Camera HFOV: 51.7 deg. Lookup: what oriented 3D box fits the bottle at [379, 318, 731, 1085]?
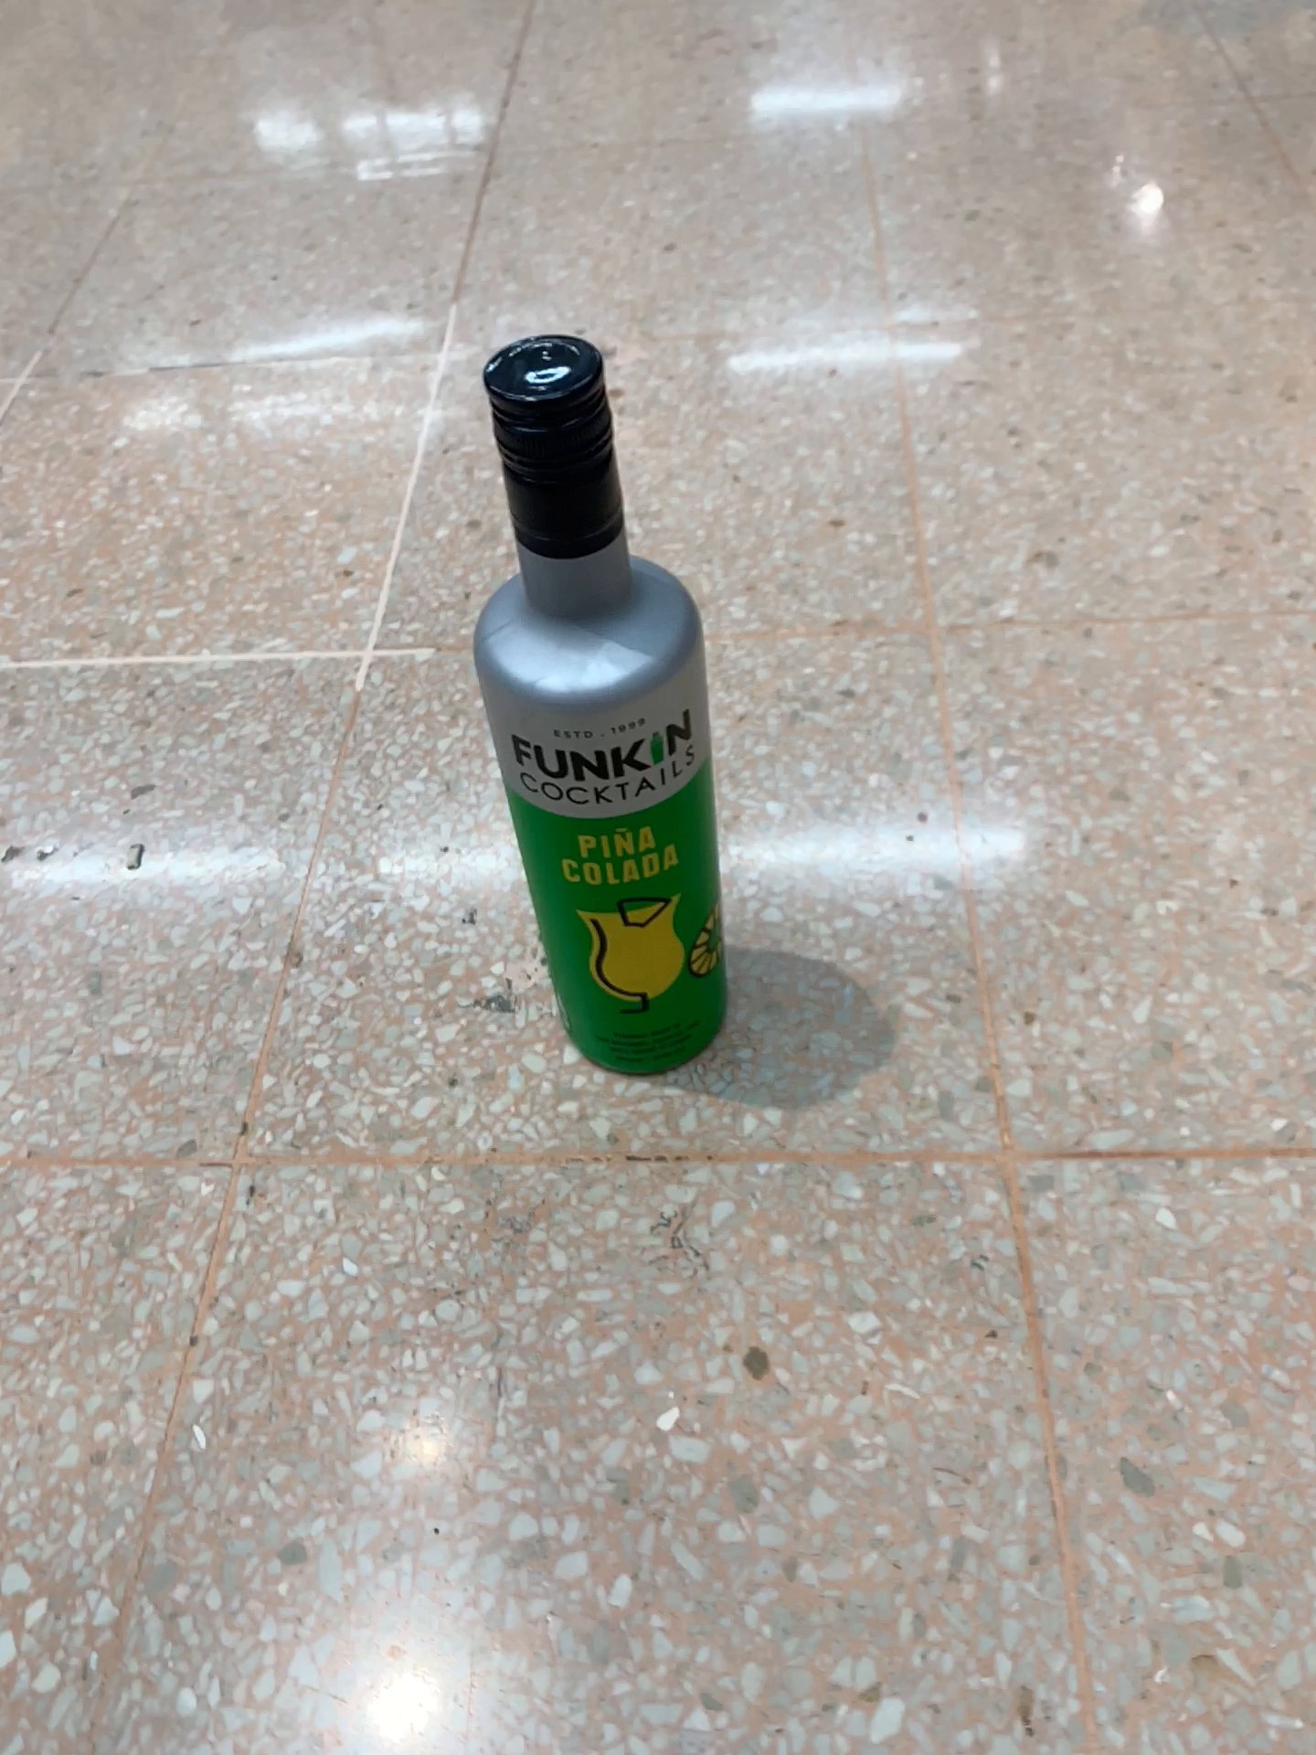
[{"bbox_3d":[-0.019,-0.034,0.459,0.073,0.284,0.067,-3,50,4],"label":"bottle"}]
